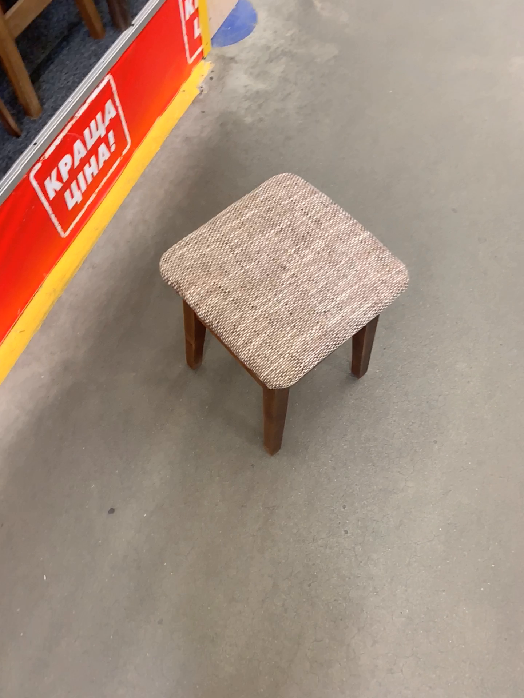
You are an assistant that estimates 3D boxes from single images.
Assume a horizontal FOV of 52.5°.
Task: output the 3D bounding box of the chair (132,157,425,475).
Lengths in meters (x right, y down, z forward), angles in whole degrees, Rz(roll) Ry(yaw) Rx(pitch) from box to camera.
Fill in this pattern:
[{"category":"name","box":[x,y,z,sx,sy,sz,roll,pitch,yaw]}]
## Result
[{"category":"chair","box":[0.025,-0.036,1.111,0.340,0.479,0.360,-39,70,-17]}]
